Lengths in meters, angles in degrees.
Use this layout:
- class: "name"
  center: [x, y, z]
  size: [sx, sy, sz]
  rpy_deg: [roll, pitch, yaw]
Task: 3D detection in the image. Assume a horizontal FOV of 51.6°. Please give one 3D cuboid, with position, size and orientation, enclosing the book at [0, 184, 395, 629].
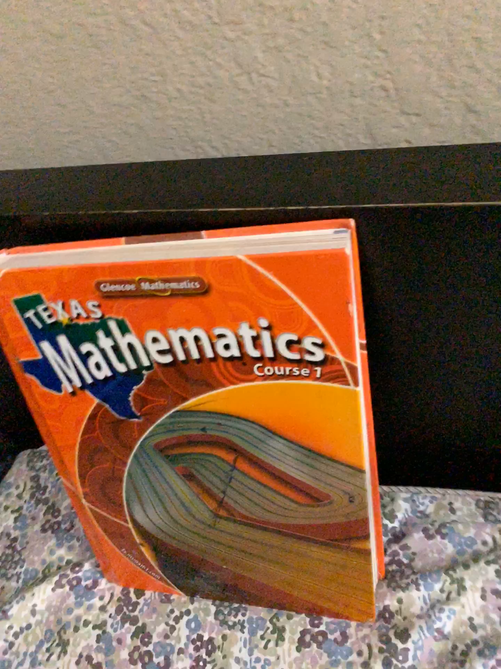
- class: "book"
  center: [-0.029, 0.070, 0.330]
  size: [0.230, 0.299, 0.050]
  rpy_deg: [-1, 34, 15]
